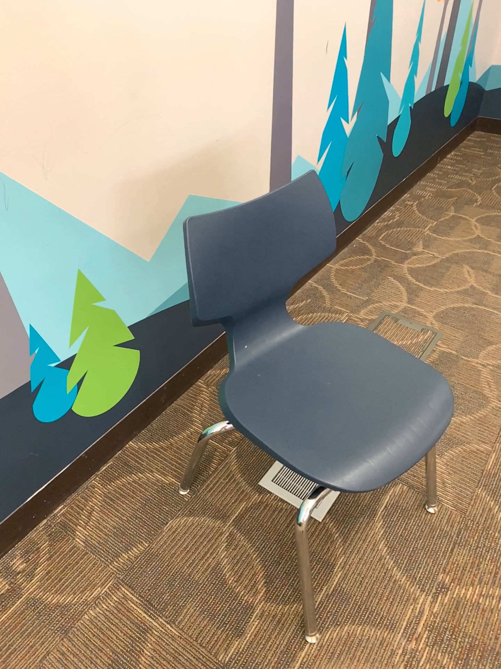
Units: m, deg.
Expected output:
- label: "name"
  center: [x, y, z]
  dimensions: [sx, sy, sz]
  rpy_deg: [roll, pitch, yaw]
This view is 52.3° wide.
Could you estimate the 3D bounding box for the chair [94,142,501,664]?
- label: "chair"
  center: [0.140, 0.103, 1.093]
  dimensions: [0.571, 0.746, 0.582]
  rpy_deg: [-30, 47, -32]
